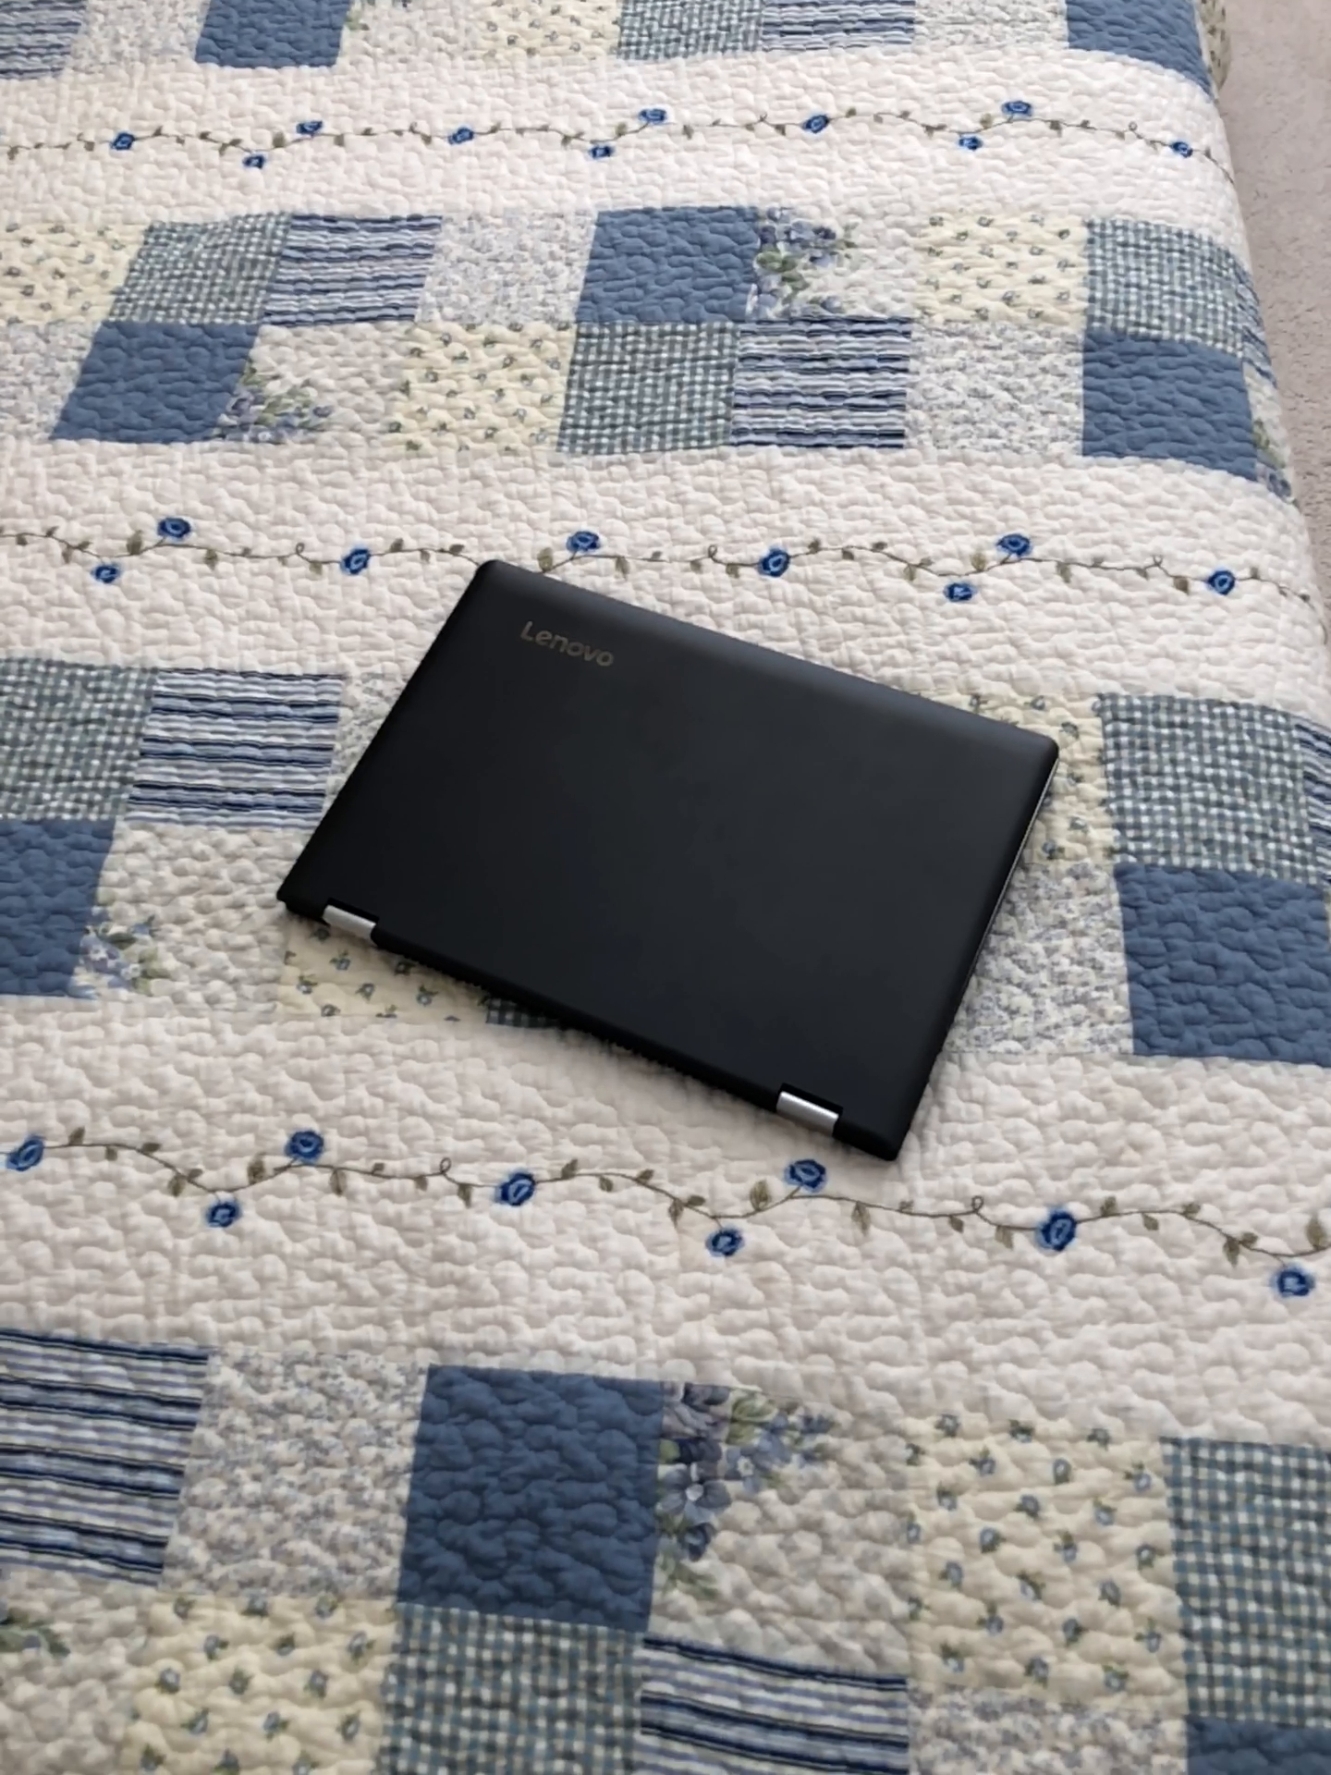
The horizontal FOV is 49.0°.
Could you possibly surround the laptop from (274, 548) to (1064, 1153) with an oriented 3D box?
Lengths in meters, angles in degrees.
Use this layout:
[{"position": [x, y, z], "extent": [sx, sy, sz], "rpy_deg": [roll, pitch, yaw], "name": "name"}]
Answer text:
[{"position": [0.001, -0.034, 0.711], "extent": [0.321, 0.008, 0.224], "rpy_deg": [20, 69, 16], "name": "laptop"}]
